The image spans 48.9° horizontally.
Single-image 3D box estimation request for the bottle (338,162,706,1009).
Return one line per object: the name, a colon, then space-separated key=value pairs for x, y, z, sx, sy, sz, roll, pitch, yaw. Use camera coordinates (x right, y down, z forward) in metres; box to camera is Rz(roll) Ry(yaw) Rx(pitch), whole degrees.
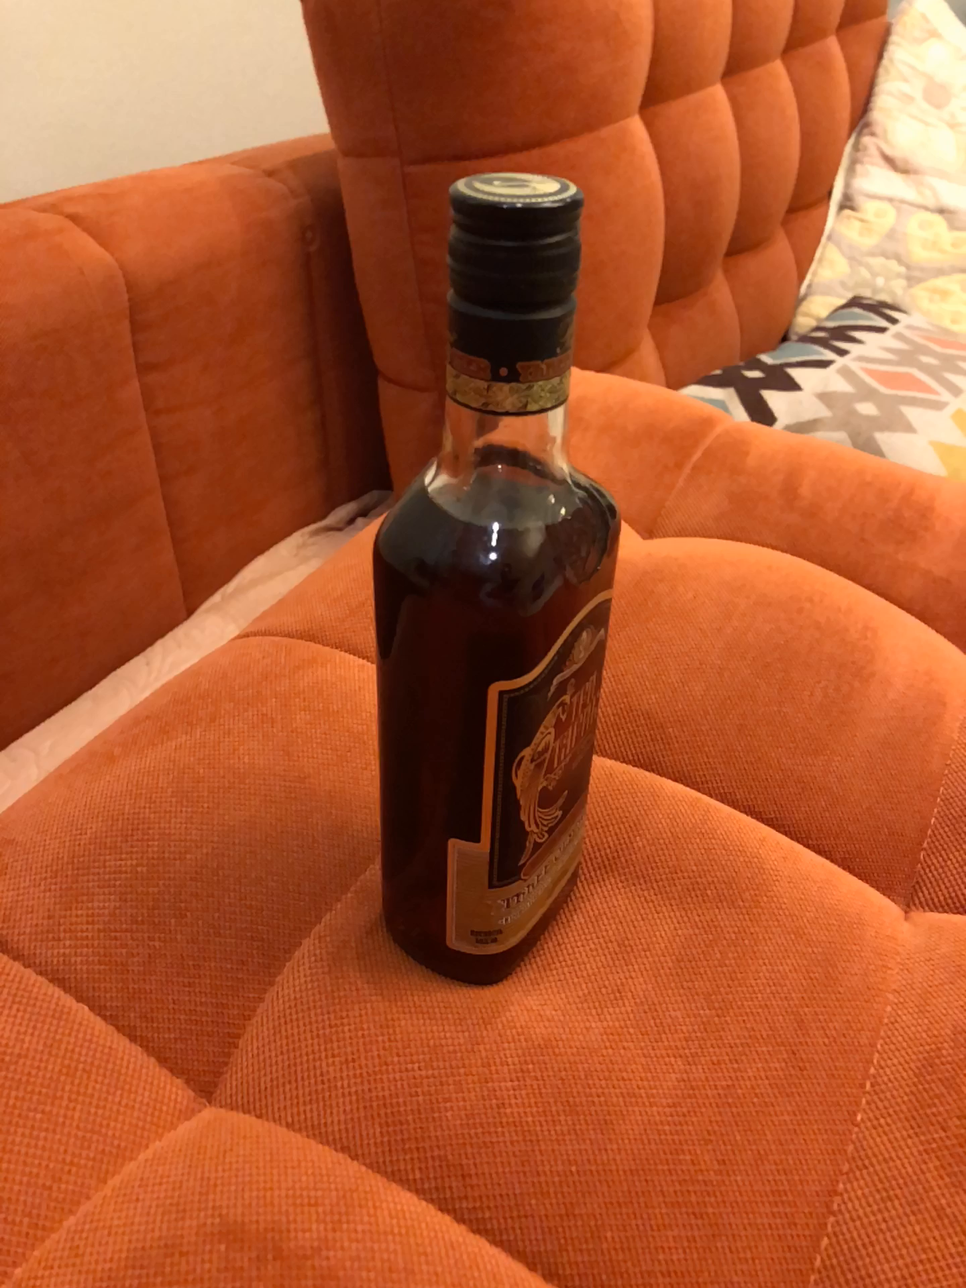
bottle: x=0.008 y=-0.005 z=0.315 sx=0.056 sy=0.237 sz=0.074 roll=21 pitch=39 yaw=24
